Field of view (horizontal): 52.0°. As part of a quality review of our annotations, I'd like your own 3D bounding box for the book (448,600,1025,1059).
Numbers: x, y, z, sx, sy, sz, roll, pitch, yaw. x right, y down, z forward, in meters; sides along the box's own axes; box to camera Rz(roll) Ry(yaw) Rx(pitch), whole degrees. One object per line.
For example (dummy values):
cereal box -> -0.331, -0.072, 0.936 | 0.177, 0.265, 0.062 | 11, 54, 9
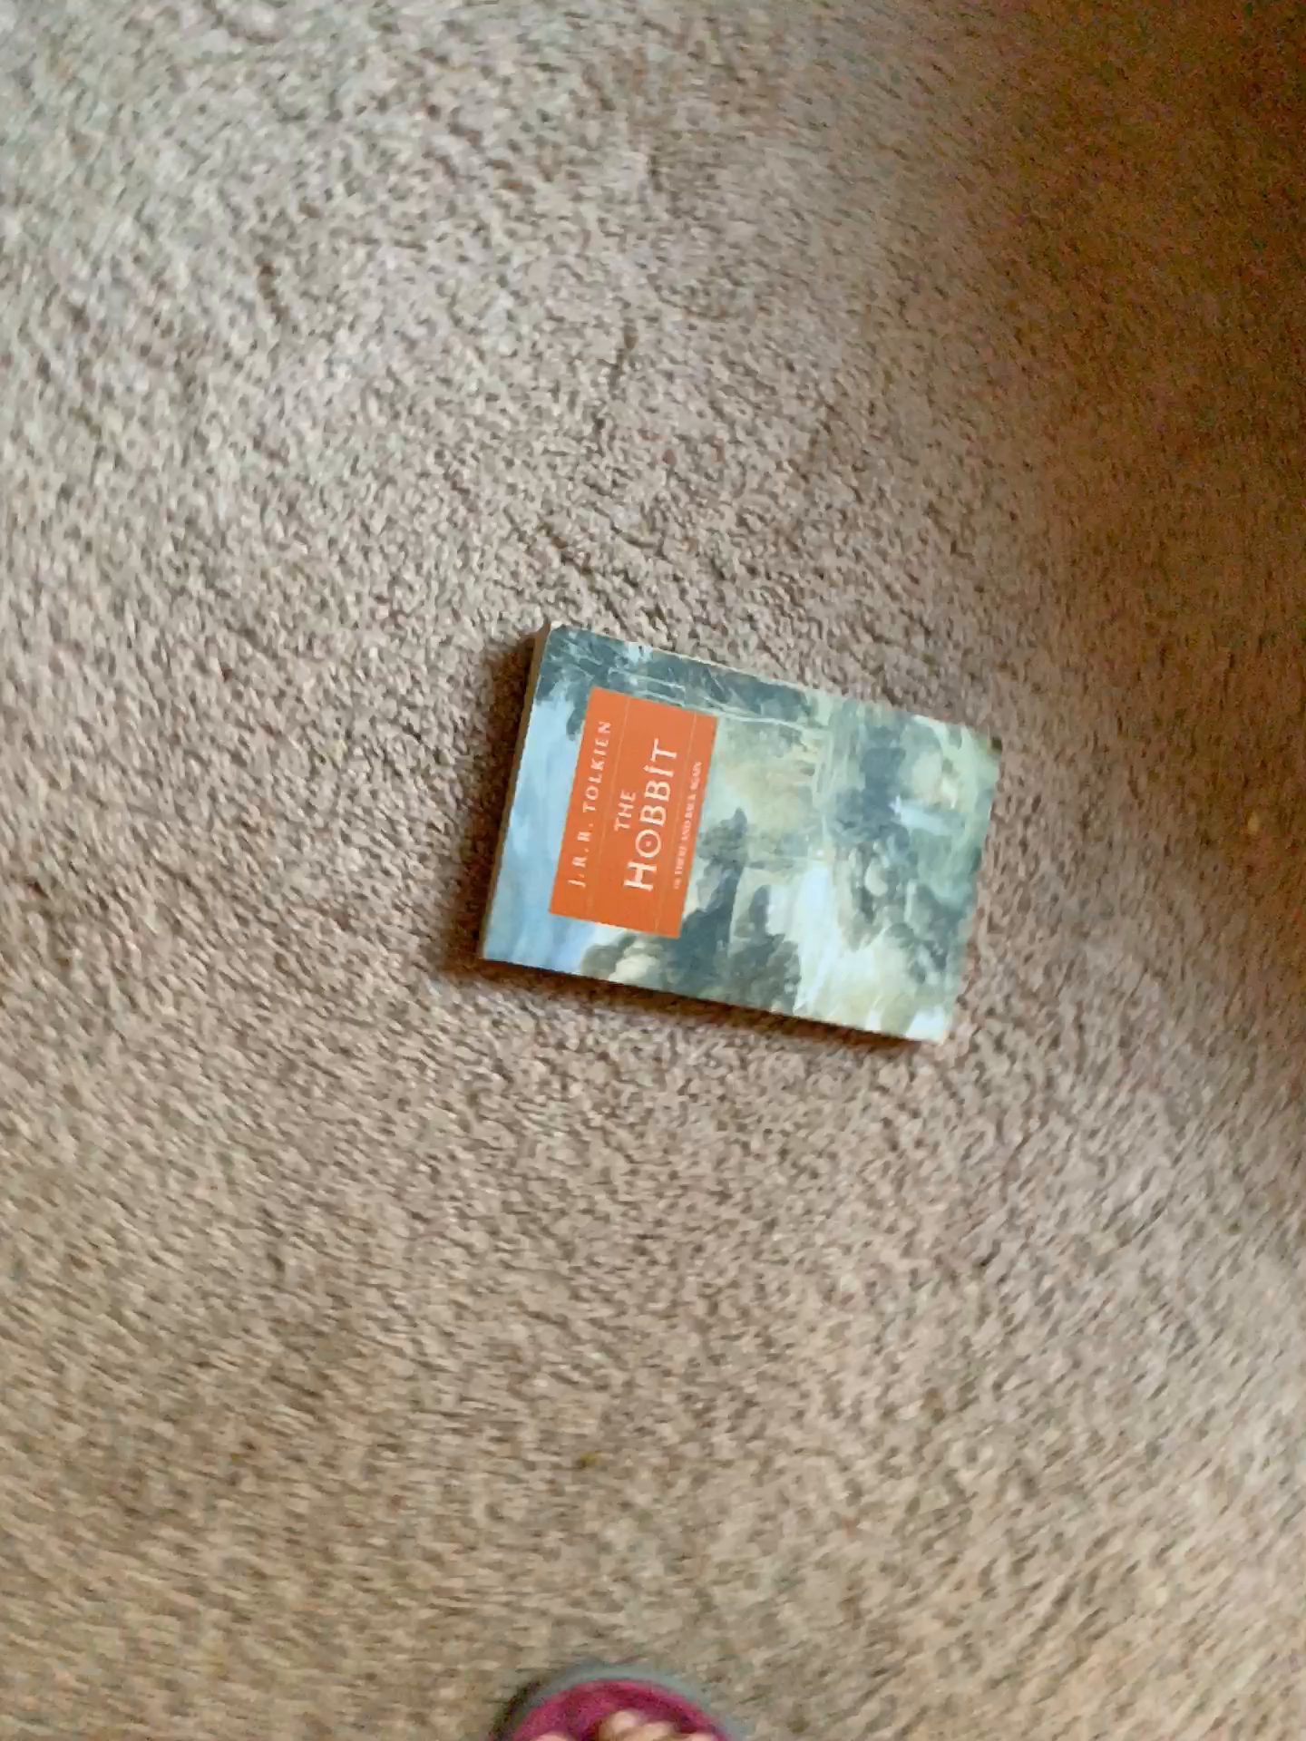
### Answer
book -> 0.037, -0.014, 0.562 | 0.220, 0.030, 0.150 | 10, 85, -10
